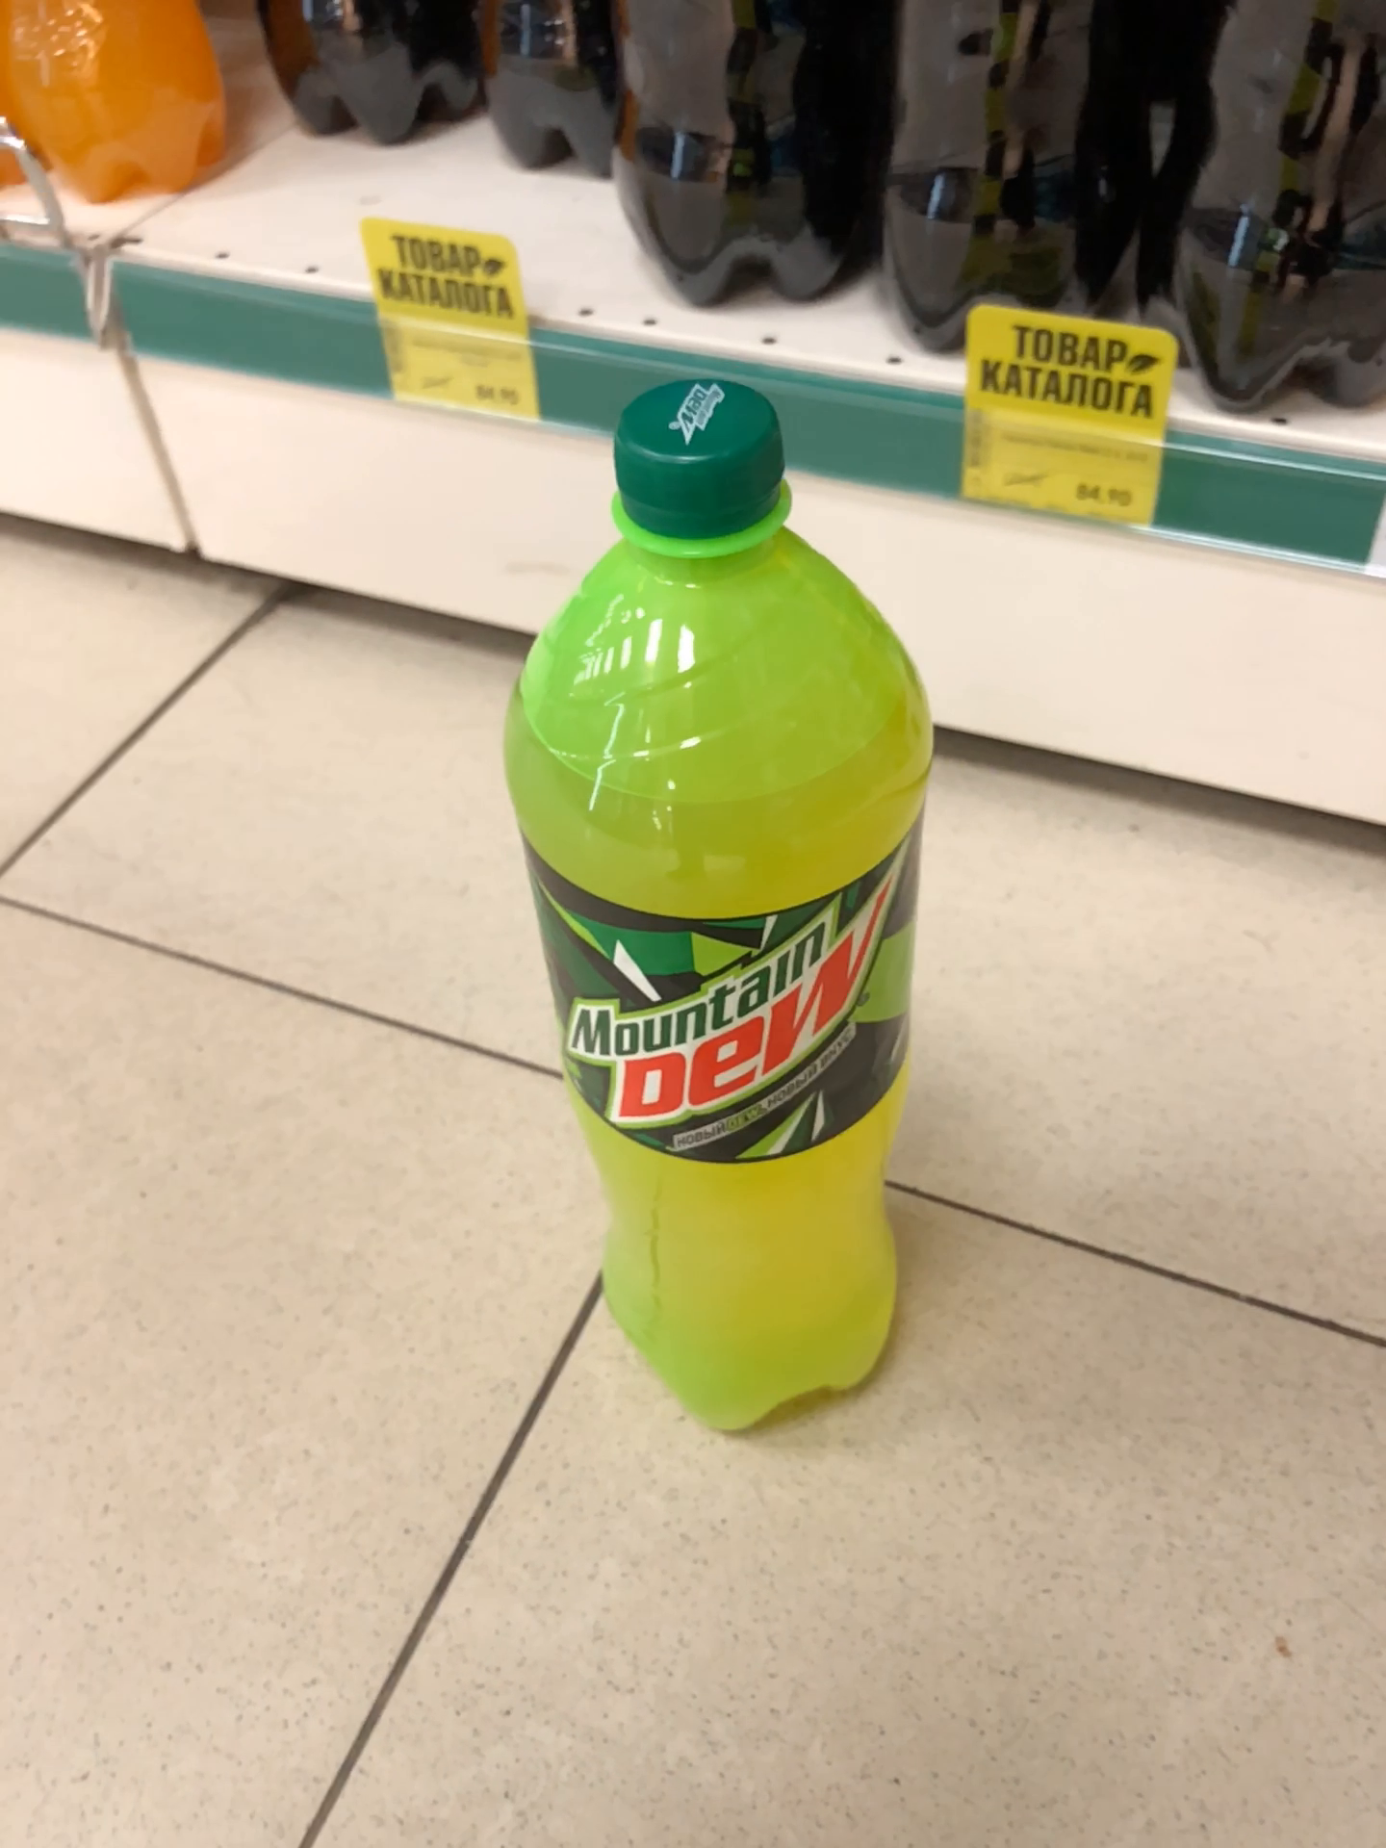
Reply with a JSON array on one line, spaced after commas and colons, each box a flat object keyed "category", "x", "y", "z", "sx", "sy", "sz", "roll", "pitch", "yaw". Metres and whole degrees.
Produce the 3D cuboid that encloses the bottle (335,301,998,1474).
[{"category": "bottle", "x": 0.010, "y": 0.015, "z": 0.380, "sx": 0.095, "sy": 0.294, "sz": 0.101, "roll": -3, "pitch": 47, "yaw": 3}]
